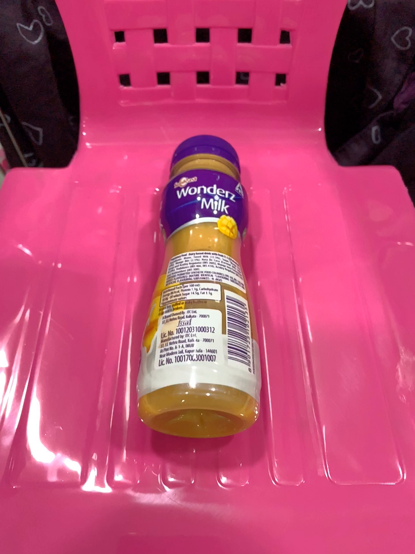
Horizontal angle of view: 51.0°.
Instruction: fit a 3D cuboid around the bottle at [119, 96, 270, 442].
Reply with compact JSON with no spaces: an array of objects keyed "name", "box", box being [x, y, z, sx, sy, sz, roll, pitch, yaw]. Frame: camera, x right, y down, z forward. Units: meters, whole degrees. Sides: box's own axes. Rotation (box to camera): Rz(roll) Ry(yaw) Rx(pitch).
[{"name":"bottle","box":[-0.004,-0.011,0.205,0.050,0.050,0.160,0,59,1]}]
